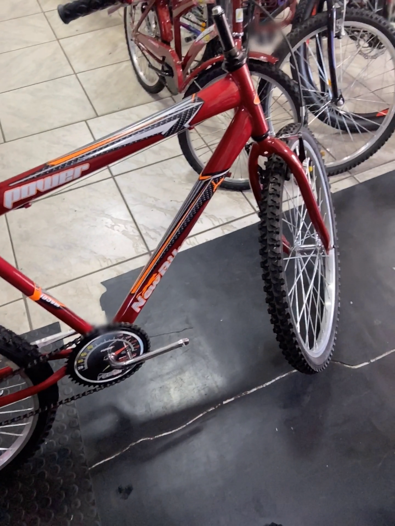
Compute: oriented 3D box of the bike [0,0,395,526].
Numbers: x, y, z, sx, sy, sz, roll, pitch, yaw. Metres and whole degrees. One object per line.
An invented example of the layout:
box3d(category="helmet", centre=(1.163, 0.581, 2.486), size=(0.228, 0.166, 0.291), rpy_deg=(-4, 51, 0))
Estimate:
box3d(category="bike", centre=(-0.329, -0.085, 0.797), size=(1.584, 1.029, 0.567), rpy_deg=(-31, 57, -15))
